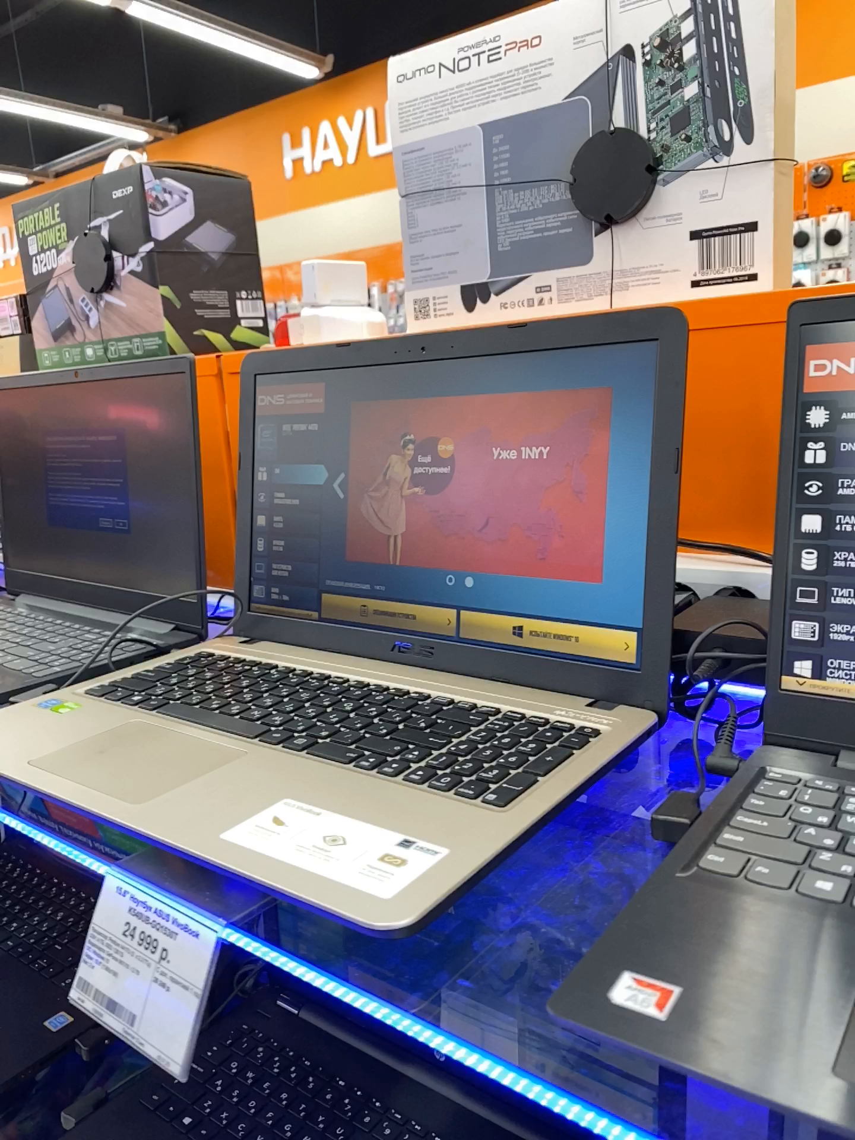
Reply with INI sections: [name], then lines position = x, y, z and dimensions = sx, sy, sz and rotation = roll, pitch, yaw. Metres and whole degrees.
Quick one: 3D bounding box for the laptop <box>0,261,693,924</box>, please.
[laptop]
position = -0.078, -0.024, 0.526
dimensions = 0.377, 0.231, 0.293
rotation = 5, 13, 37
